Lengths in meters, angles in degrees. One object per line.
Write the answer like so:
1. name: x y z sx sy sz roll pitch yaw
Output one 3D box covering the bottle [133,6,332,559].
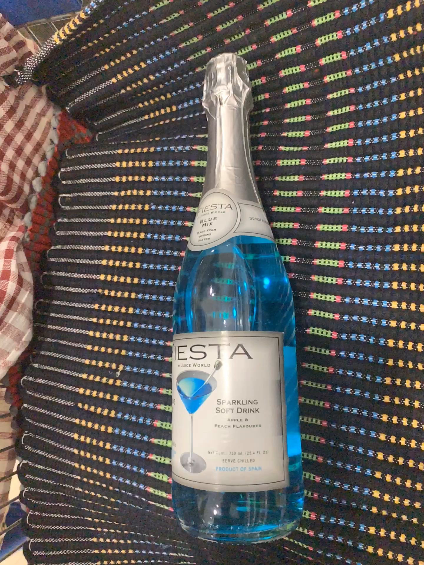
1. bottle: 0.016 -0.007 0.303 0.080 0.100 0.310 -9 75 37
